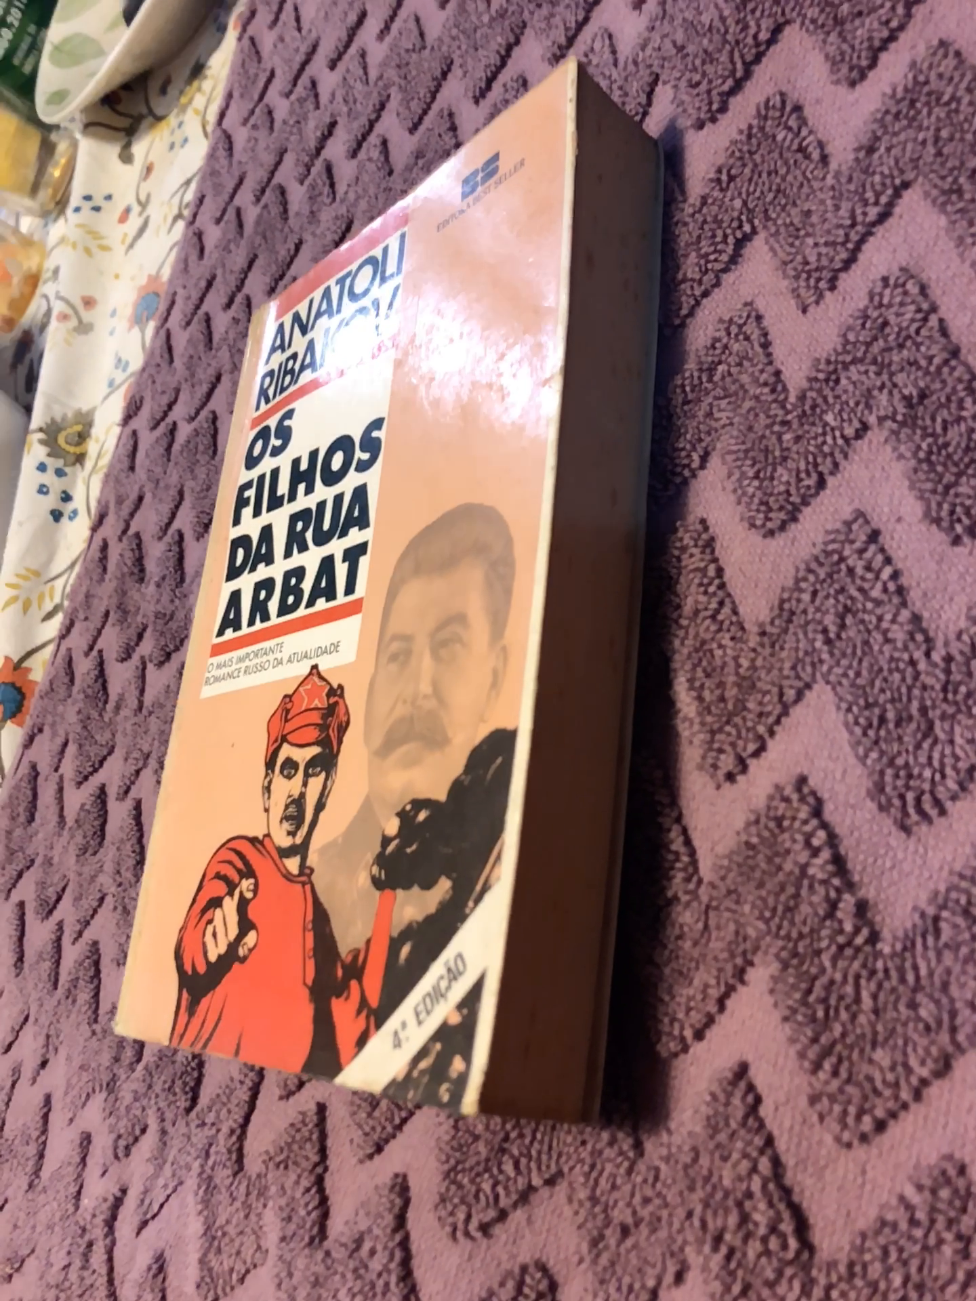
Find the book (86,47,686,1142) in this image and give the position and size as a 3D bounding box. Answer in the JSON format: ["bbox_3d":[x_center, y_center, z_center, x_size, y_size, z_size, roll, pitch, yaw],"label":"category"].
[{"bbox_3d":[-0.025,-0.006,0.240,0.141,0.040,0.190,-14,66,46],"label":"book"}]
